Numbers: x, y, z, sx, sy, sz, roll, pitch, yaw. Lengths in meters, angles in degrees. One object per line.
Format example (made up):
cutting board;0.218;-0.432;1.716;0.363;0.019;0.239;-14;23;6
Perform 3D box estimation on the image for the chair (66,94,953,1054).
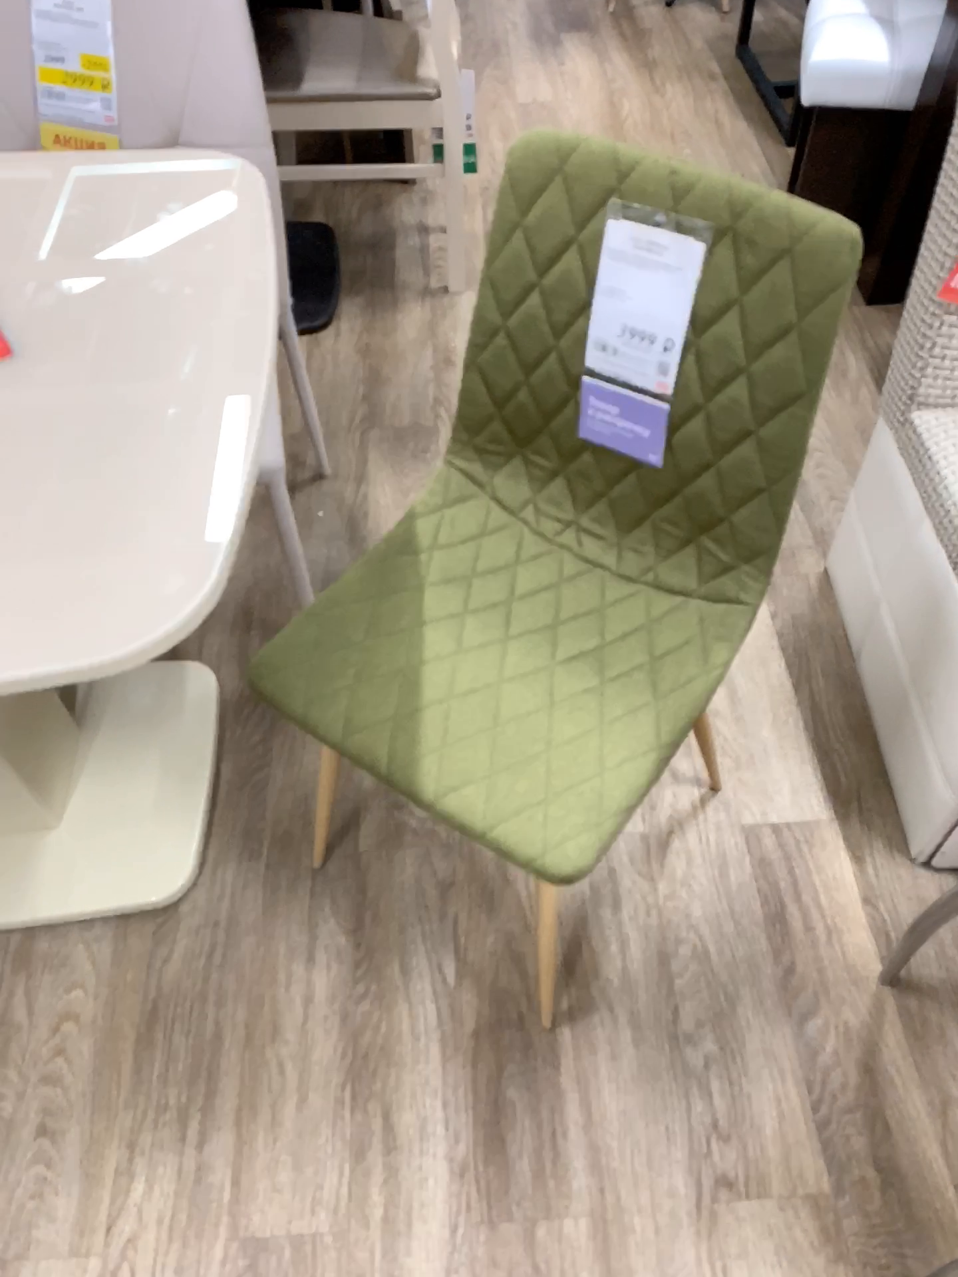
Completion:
chair;0.059;-0.027;1.123;0.501;0.836;0.562;28;58;22
